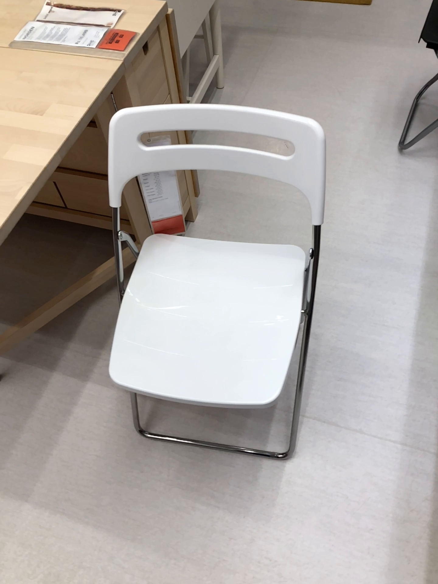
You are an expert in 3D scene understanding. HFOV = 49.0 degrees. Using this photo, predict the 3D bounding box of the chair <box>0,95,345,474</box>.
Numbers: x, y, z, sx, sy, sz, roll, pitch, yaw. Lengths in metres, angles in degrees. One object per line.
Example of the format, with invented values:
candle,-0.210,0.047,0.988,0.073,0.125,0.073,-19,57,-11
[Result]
chair,-0.018,0.042,1.011,0.440,0.716,0.422,6,57,9
